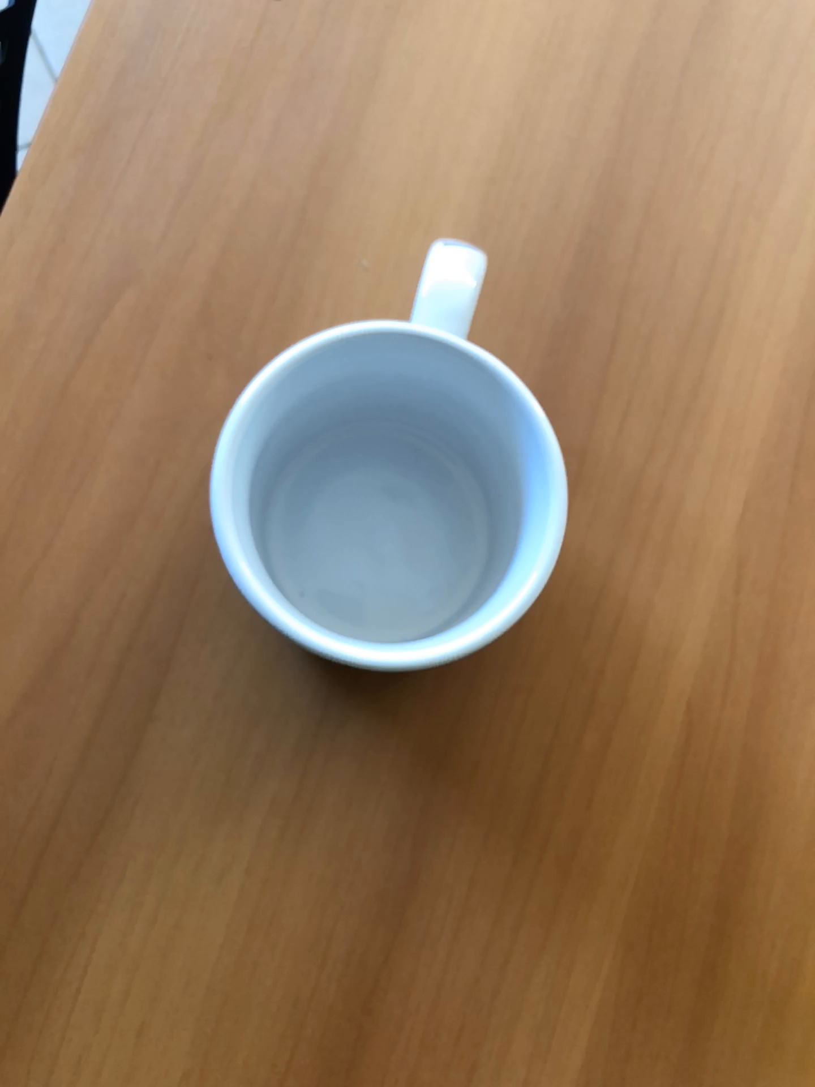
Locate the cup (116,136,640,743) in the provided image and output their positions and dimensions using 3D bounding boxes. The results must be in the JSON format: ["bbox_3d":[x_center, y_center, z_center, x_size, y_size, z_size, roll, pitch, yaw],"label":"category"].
[{"bbox_3d":[-0.008,-0.027,0.310,0.110,0.100,0.150,17,83,-2],"label":"cup"}]
